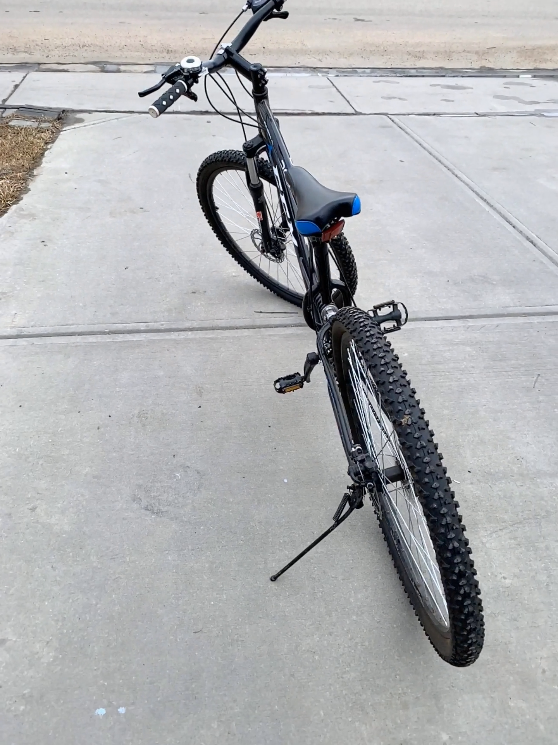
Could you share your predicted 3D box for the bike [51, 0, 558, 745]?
[{"bbox_3d":[-0.053,-0.228,1.428,0.627,1.173,1.798,-12,43,-16],"label":"bike"}]
